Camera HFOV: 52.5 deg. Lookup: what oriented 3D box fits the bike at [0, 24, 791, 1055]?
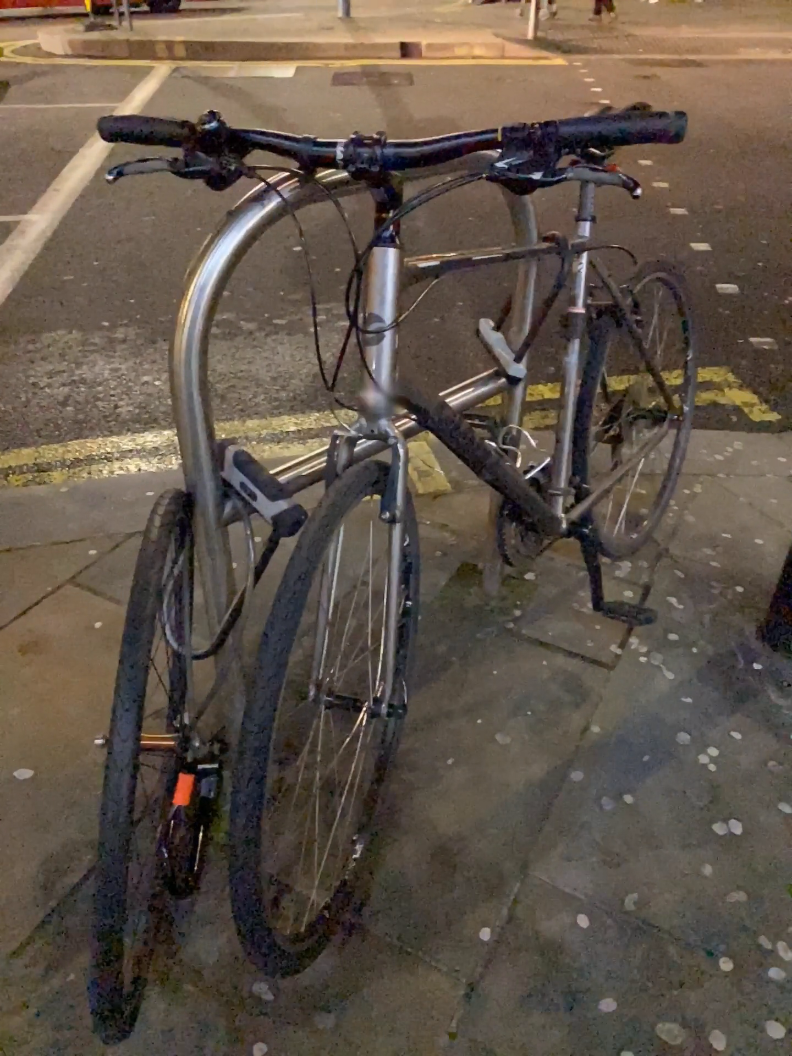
[{"bbox_3d":[0.162,-0.219,1.484,0.709,1.124,1.828,20,39,25],"label":"bike"}]
